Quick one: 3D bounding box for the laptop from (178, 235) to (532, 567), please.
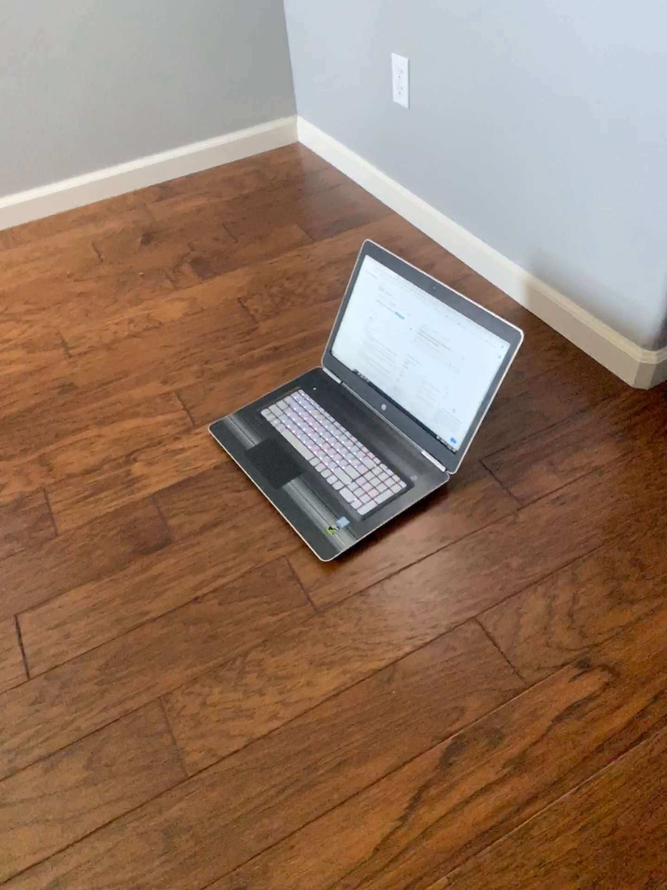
[{"bbox_3d":[0.031,-0.105,1.197,0.422,0.233,0.412,-31,50,-20],"label":"laptop"}]
